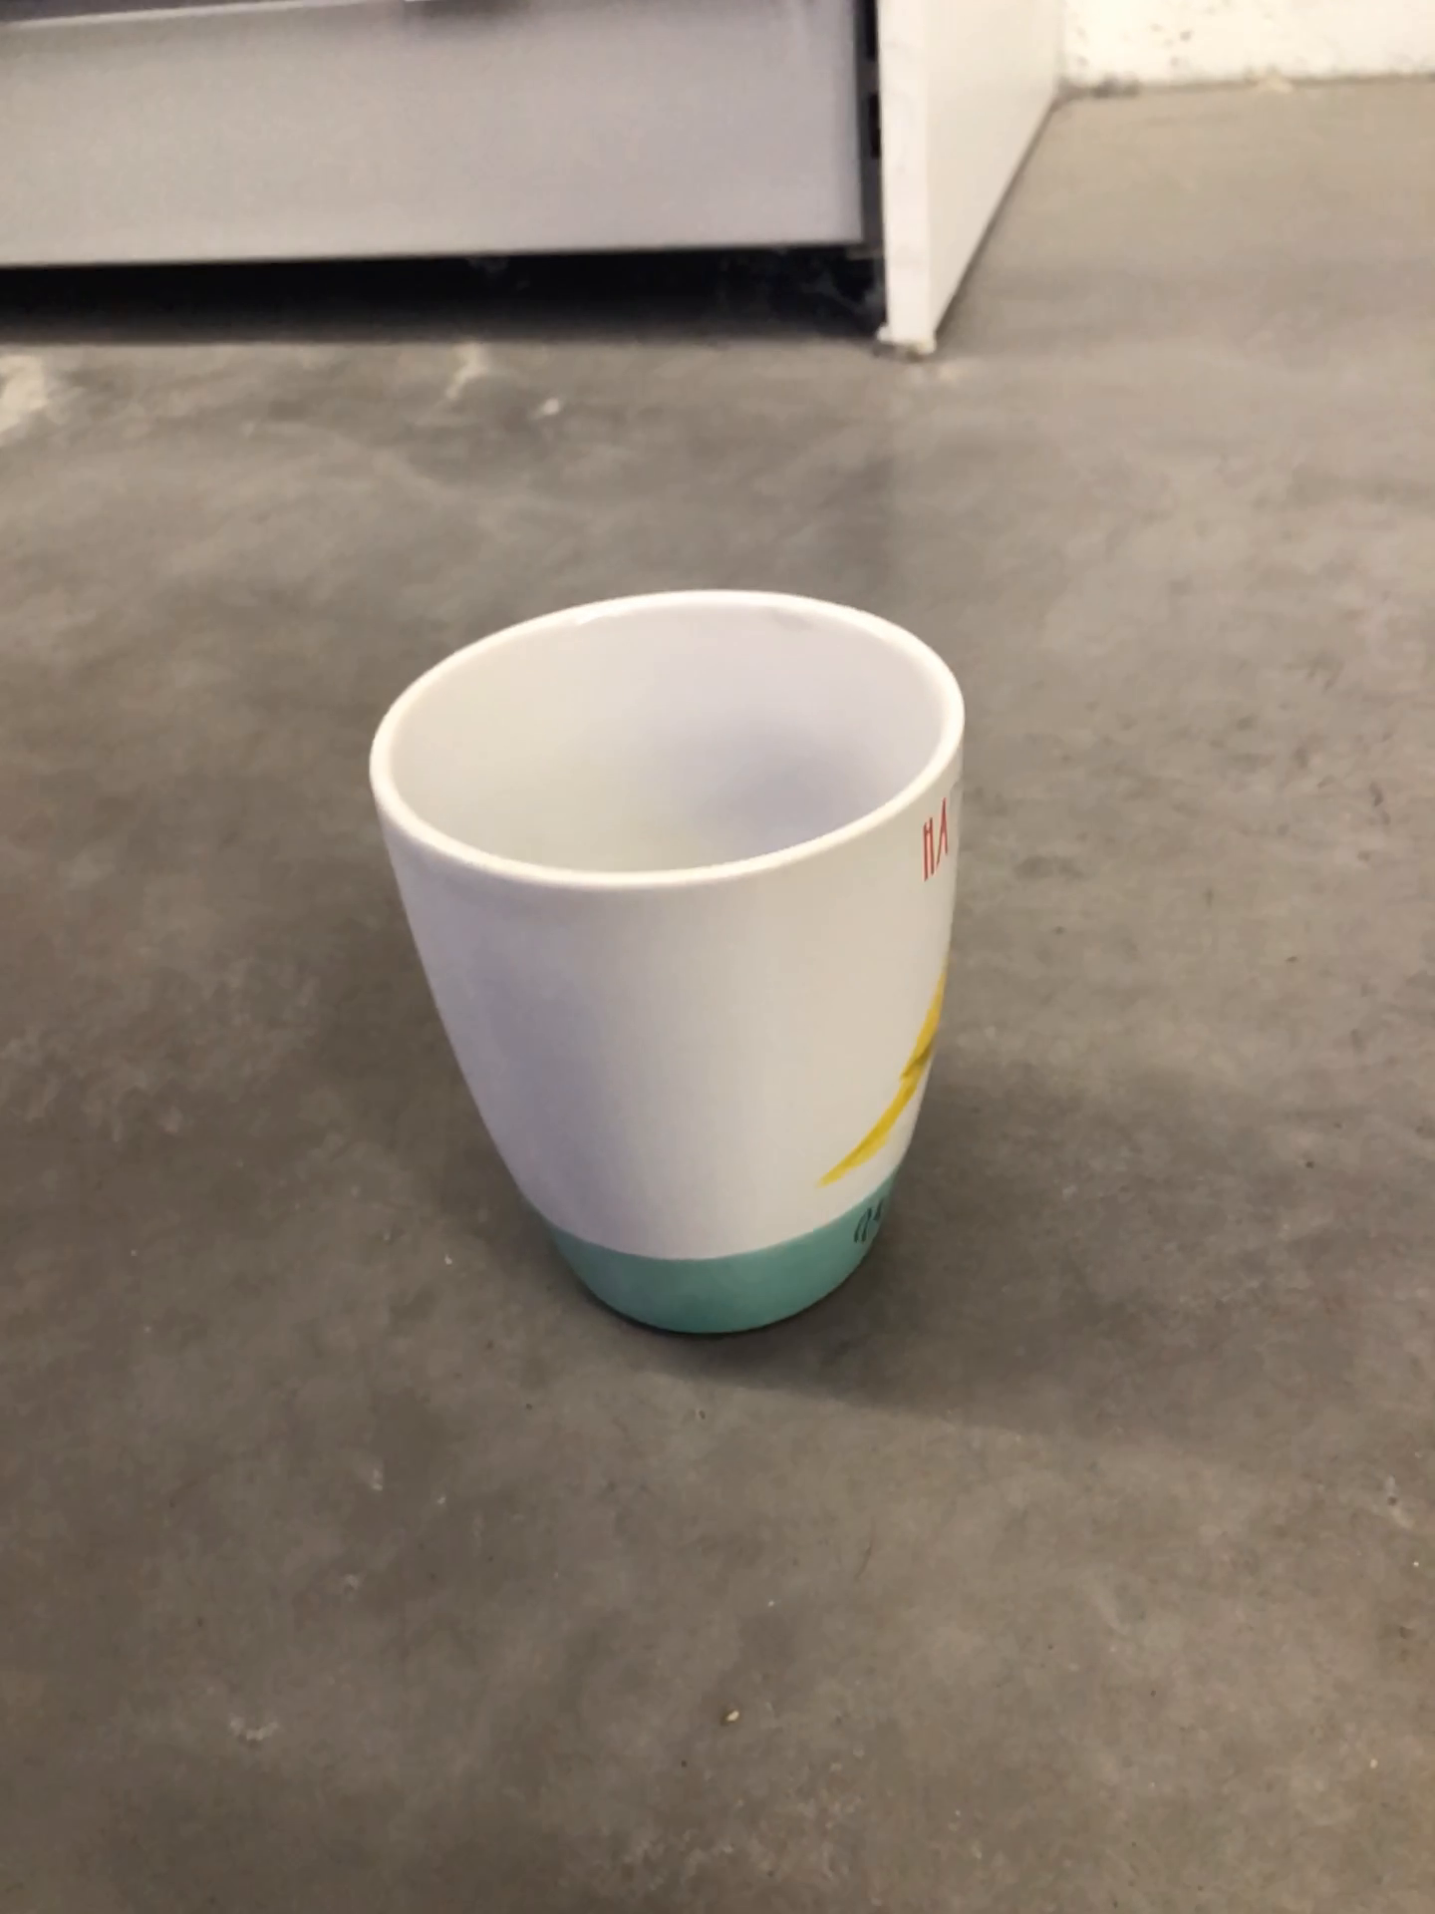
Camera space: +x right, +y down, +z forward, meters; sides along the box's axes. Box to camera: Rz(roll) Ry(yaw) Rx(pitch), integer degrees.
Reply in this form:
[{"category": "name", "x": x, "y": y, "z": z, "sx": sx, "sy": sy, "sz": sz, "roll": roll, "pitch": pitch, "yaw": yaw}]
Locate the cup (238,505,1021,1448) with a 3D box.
[{"category": "cup", "x": 0.000, "y": -0.005, "z": 0.287, "sx": 0.097, "sy": 0.107, "sz": 0.130, "roll": 3, "pitch": 37, "yaw": 12}]
